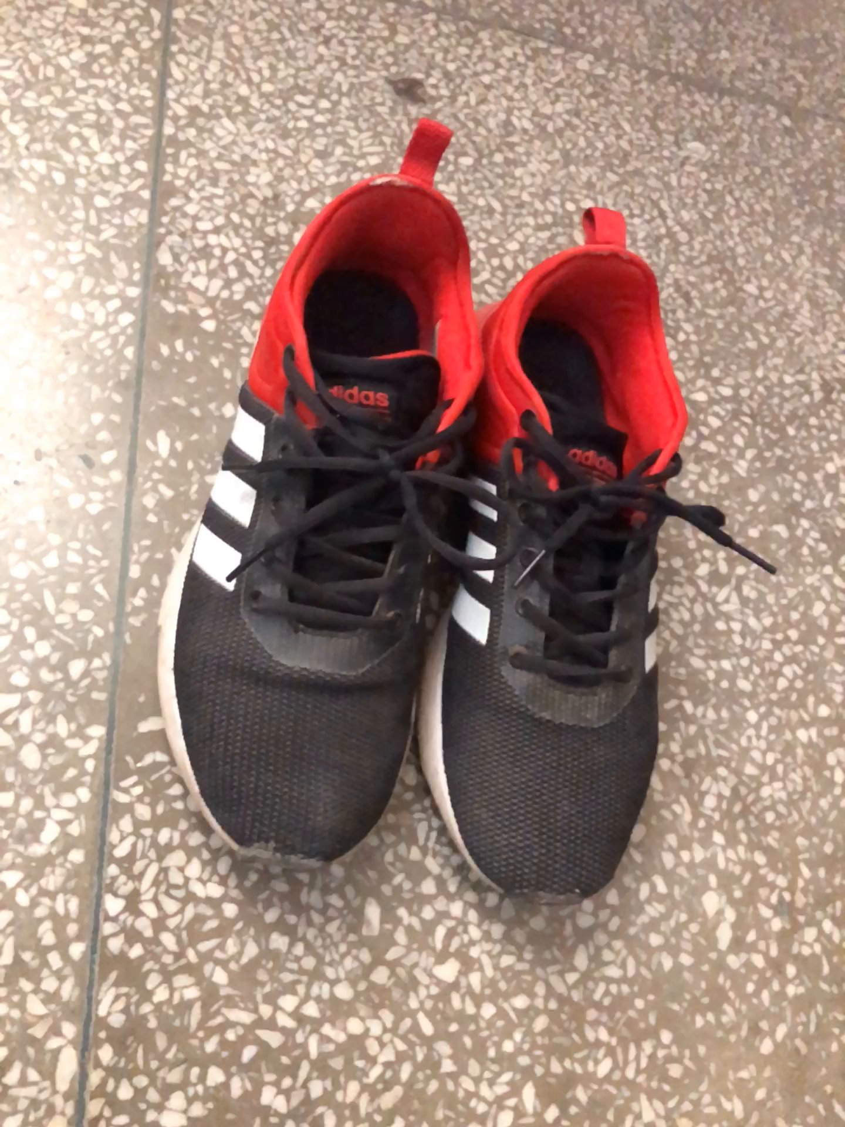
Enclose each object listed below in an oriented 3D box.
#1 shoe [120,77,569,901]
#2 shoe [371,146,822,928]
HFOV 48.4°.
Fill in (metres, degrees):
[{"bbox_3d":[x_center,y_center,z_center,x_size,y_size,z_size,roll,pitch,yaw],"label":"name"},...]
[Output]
[{"bbox_3d":[-0.030,-0.027,0.412,0.130,0.140,0.310,12,65,-13],"label":"shoe"},{"bbox_3d":[0.071,-0.007,0.442,0.130,0.140,0.320,11,66,-14],"label":"shoe"}]
